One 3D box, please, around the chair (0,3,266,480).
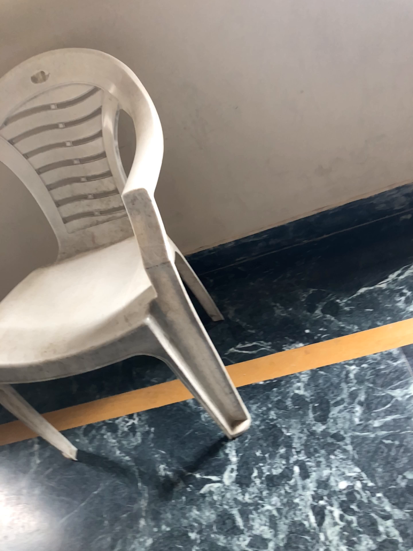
[{"bbox_3d":[-0.281,-0.052,1.069,0.580,0.775,0.624,-16,38,13],"label":"chair"}]
